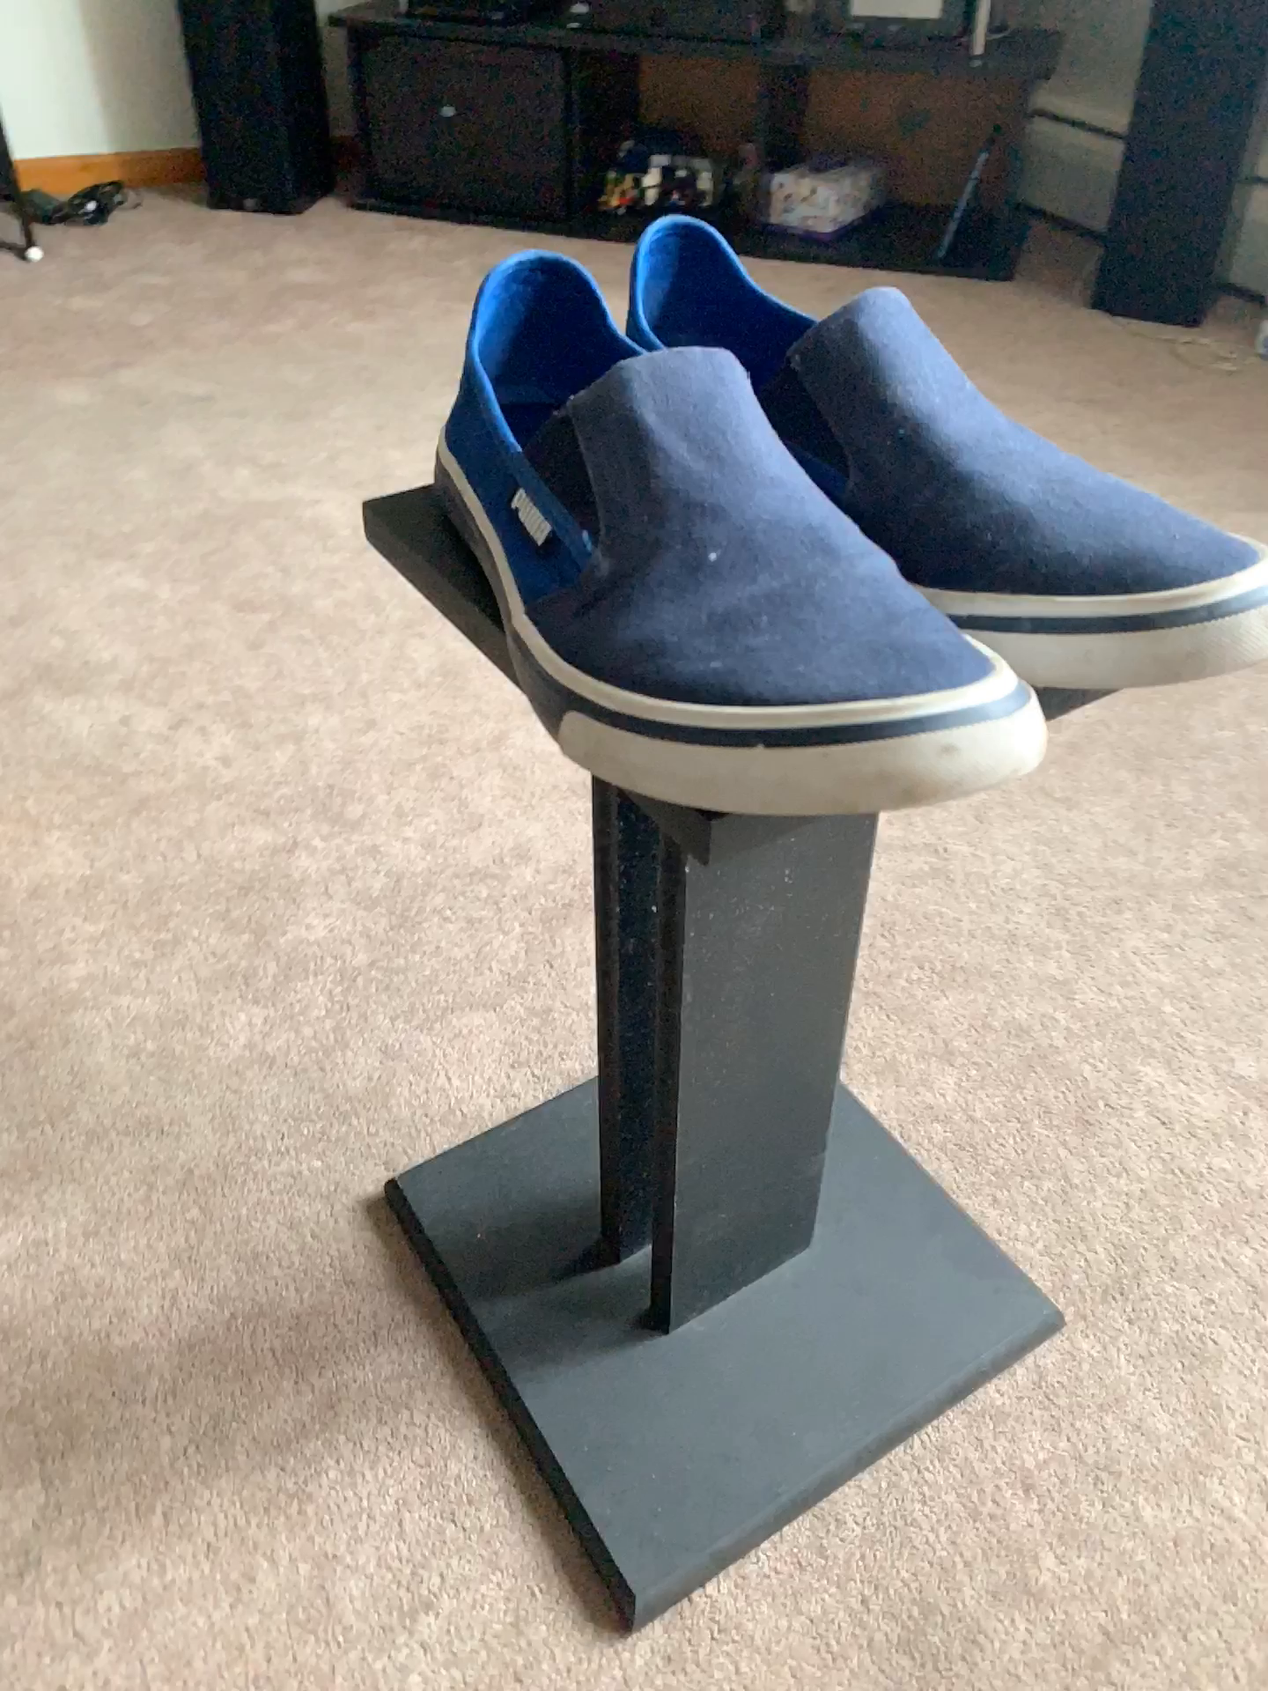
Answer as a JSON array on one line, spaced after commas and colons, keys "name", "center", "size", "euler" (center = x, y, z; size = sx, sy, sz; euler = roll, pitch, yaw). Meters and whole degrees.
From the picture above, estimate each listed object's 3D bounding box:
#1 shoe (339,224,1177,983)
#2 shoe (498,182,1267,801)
[{"name": "shoe", "center": [0.005, -0.103, 0.393], "size": [0.120, 0.079, 0.302], "euler": [-13, 41, -16]}, {"name": "shoe", "center": [0.087, -0.142, 0.437], "size": [0.120, 0.079, 0.302], "euler": [-25, 45, -28]}]
